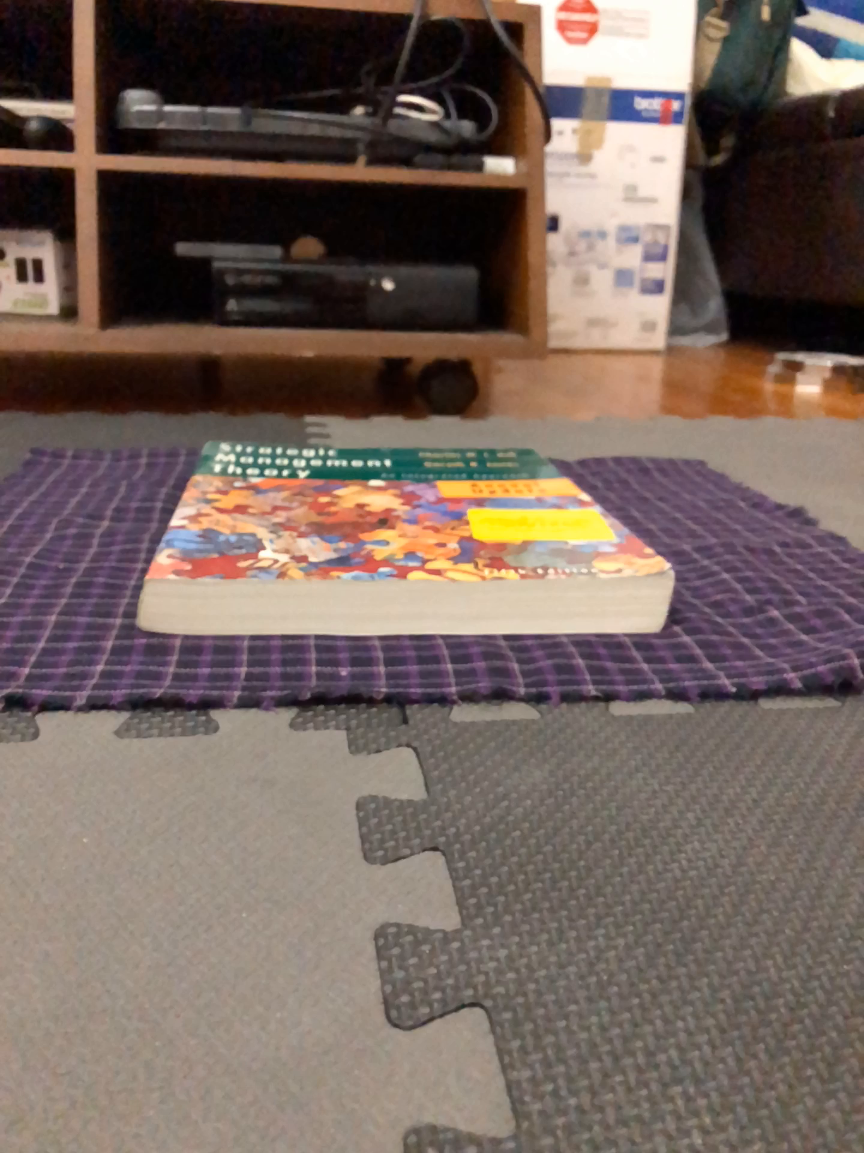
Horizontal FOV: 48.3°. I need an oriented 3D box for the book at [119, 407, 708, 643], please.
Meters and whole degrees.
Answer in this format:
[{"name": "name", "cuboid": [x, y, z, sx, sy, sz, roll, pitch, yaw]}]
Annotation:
[{"name": "book", "cuboid": [-0.019, -0.043, 0.512, 0.230, 0.040, 0.281, -1, 20, -6]}]
